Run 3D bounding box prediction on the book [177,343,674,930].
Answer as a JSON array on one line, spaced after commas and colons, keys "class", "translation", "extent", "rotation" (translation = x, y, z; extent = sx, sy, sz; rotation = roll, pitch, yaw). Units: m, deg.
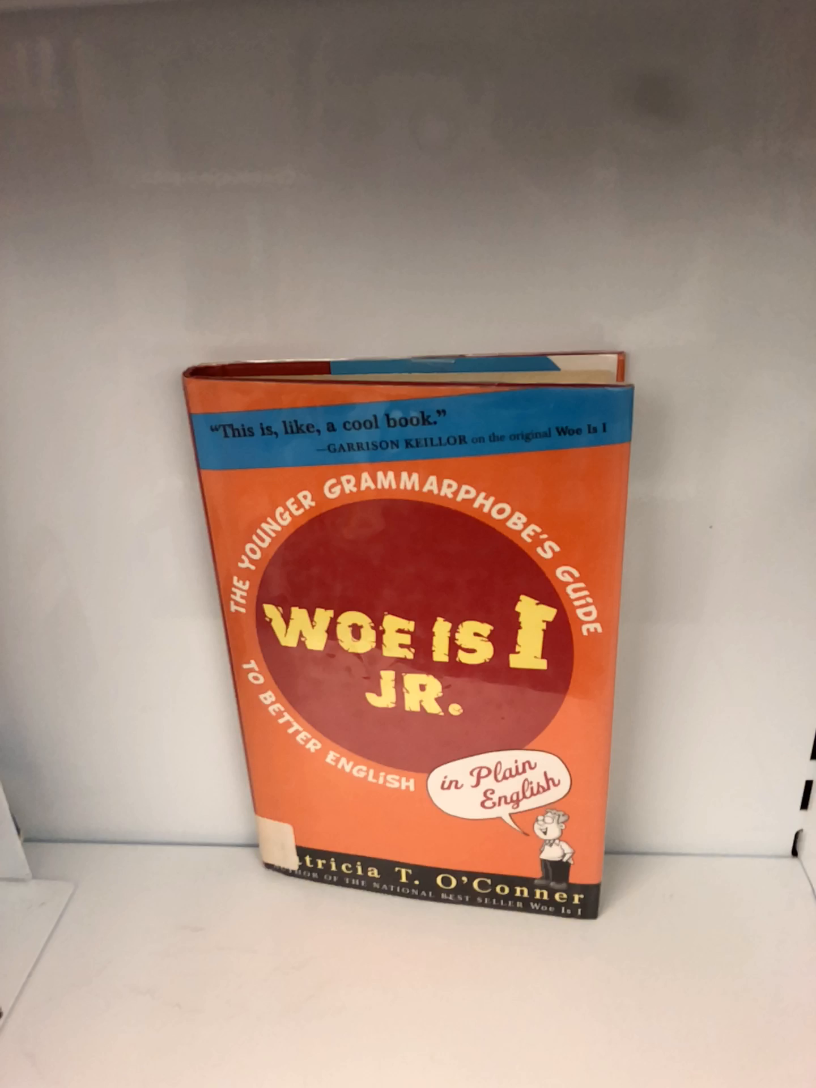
[{"class": "book", "translation": [0.009, 0.036, 0.305], "extent": [0.137, 0.199, 0.038], "rotation": [2, 25, 9]}]
